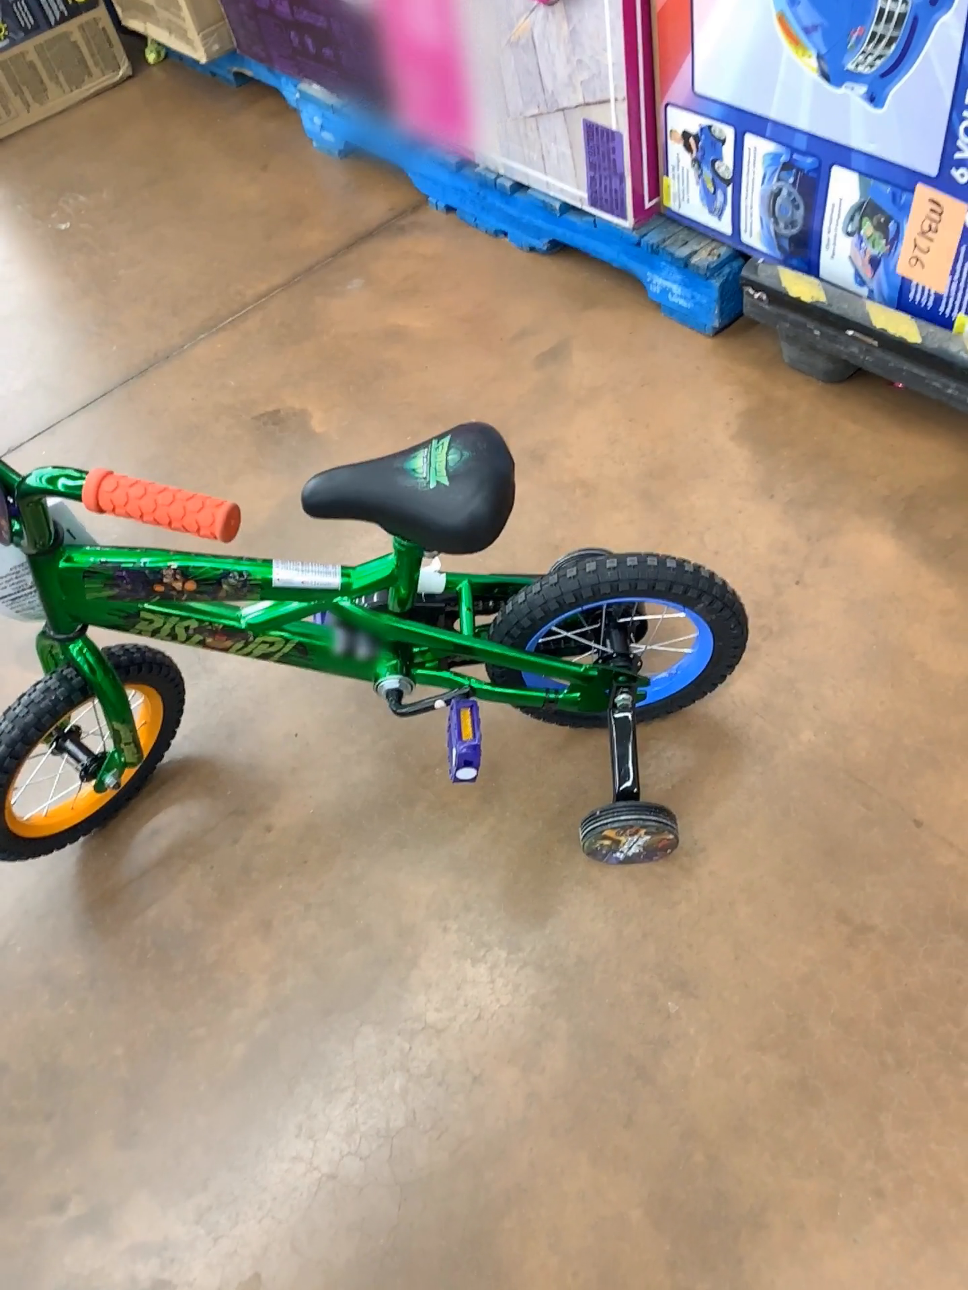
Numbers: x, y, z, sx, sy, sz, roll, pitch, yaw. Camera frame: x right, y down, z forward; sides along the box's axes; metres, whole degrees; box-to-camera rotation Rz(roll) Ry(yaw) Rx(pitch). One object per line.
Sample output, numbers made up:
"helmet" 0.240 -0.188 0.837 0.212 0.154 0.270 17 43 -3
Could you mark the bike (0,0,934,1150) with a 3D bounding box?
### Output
"bike" -0.161 -0.014 0.863 0.828 0.677 0.533 -12 52 2
